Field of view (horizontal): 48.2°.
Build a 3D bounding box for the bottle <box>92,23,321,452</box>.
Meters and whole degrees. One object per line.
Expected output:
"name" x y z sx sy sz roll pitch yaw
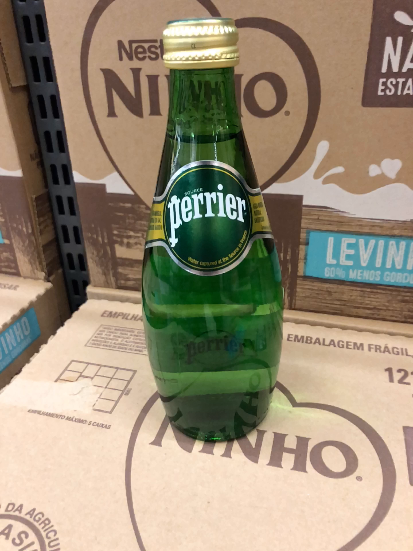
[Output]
"bottle" 0.002 -0.011 0.209 0.070 0.179 0.060 -4 28 -3
